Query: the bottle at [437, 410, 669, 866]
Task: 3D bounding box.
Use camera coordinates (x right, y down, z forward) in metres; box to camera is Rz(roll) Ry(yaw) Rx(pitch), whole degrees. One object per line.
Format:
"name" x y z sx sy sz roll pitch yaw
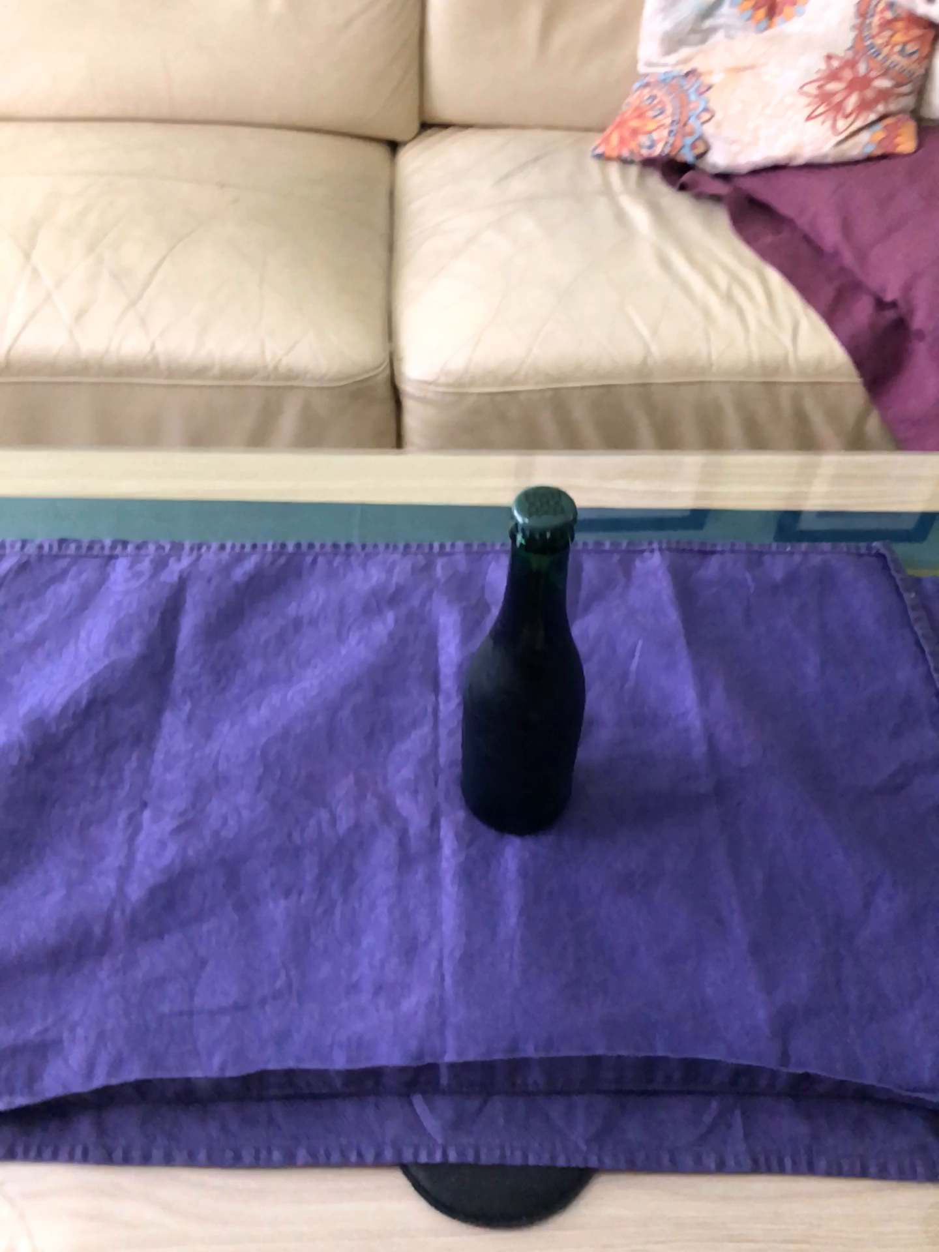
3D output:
"bottle" 0.032 0.017 0.494 0.070 0.219 0.080 17 51 12
